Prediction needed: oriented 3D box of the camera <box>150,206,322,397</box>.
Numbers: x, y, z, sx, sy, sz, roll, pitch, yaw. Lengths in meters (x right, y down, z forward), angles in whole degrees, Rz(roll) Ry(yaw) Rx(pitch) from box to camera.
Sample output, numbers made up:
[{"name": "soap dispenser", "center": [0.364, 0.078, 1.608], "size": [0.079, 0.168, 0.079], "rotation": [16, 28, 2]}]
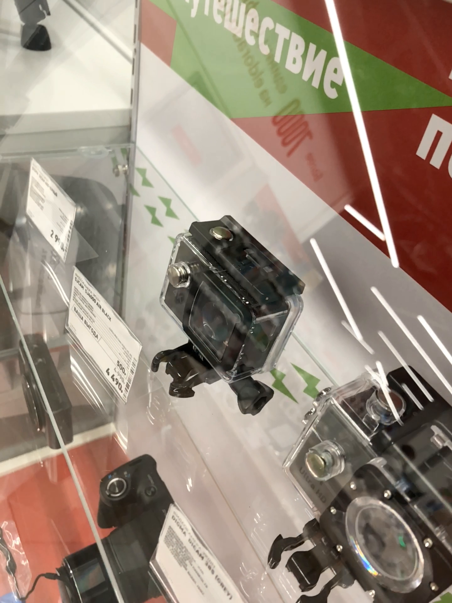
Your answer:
[{"name": "camera", "center": [0.001, -0.003, 0.249], "size": [0.033, 0.055, 0.074], "rotation": [-14, 47, -39]}]
